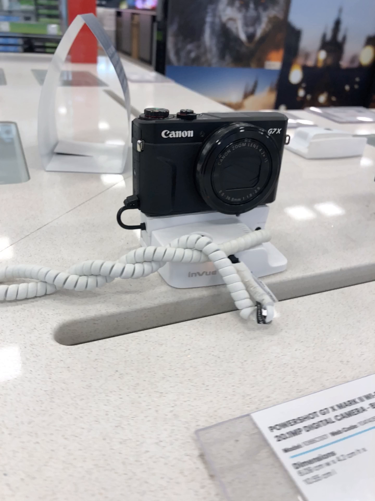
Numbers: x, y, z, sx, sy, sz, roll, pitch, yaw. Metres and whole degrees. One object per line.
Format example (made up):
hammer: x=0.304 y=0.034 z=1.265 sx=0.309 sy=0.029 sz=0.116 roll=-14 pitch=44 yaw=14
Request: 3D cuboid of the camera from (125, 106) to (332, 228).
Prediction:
camera: x=0.024 y=-0.059 z=0.278 sx=0.120 sy=0.060 sz=0.050 roll=-8 pitch=31 yaw=-21
